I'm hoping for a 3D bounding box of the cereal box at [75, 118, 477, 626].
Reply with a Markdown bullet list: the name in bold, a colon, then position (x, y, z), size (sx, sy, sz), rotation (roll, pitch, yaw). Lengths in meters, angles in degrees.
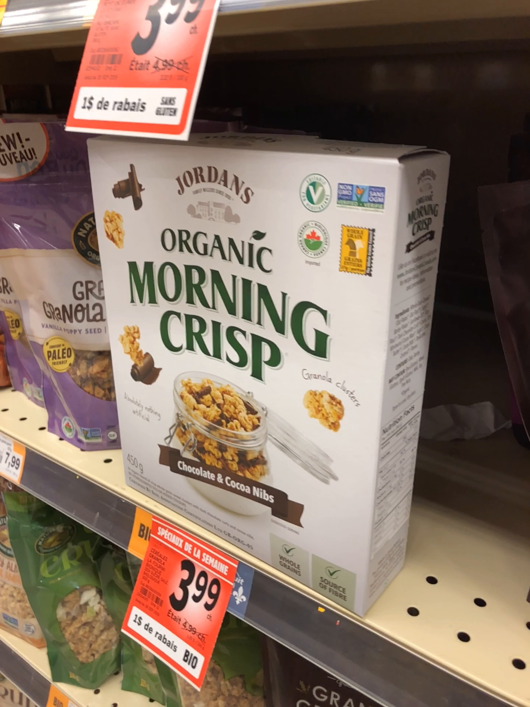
- **cereal box**: position (-0.006, -0.003, 0.295), size (0.180, 0.209, 0.050), rotation (17, 29, 35)
